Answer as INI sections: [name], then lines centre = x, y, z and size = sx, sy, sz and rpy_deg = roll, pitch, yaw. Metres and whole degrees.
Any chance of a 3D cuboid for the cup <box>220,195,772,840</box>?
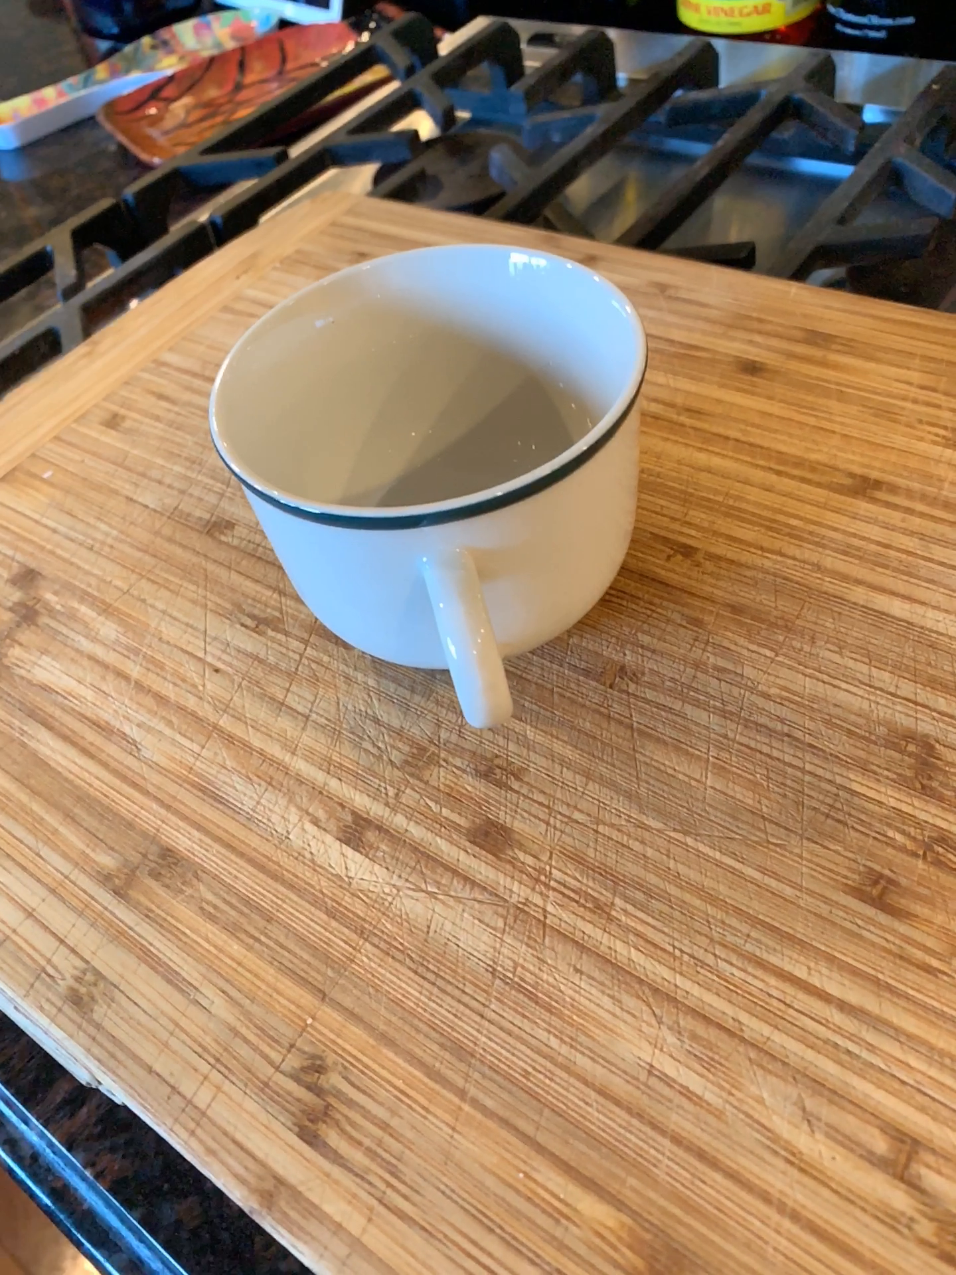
[cup]
centre = -0.003, -0.032, 0.221
size = 0.090, 0.060, 0.121
rpy_deg = -13, 49, 0
